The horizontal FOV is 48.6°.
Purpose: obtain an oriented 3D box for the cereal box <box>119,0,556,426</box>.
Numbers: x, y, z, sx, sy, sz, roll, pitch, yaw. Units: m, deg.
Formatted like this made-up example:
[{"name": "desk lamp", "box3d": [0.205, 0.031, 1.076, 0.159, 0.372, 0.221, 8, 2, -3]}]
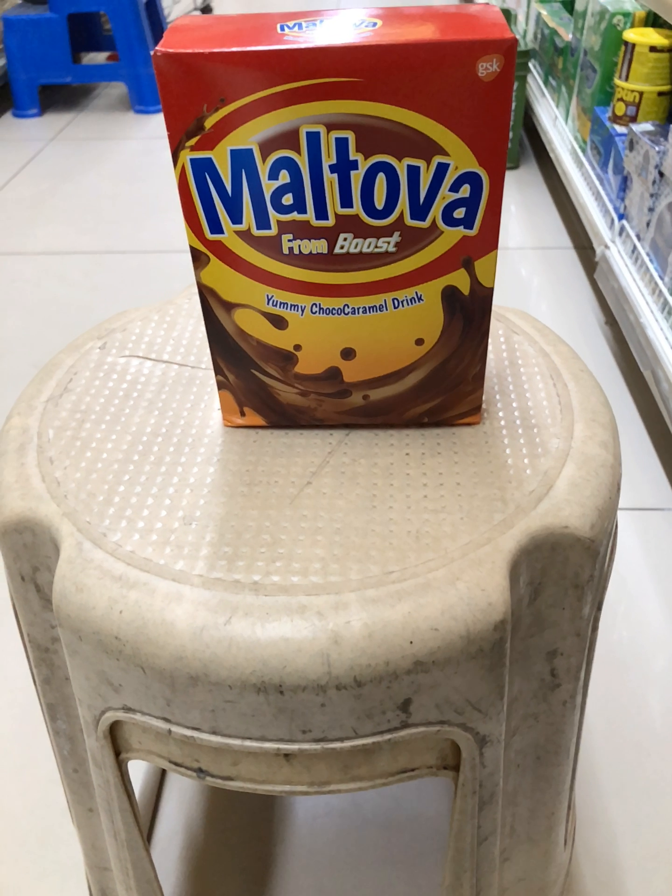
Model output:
[{"name": "cereal box", "box3d": [0.004, -0.103, 0.340, 0.150, 0.179, 0.070, -1, 40, 2]}]
